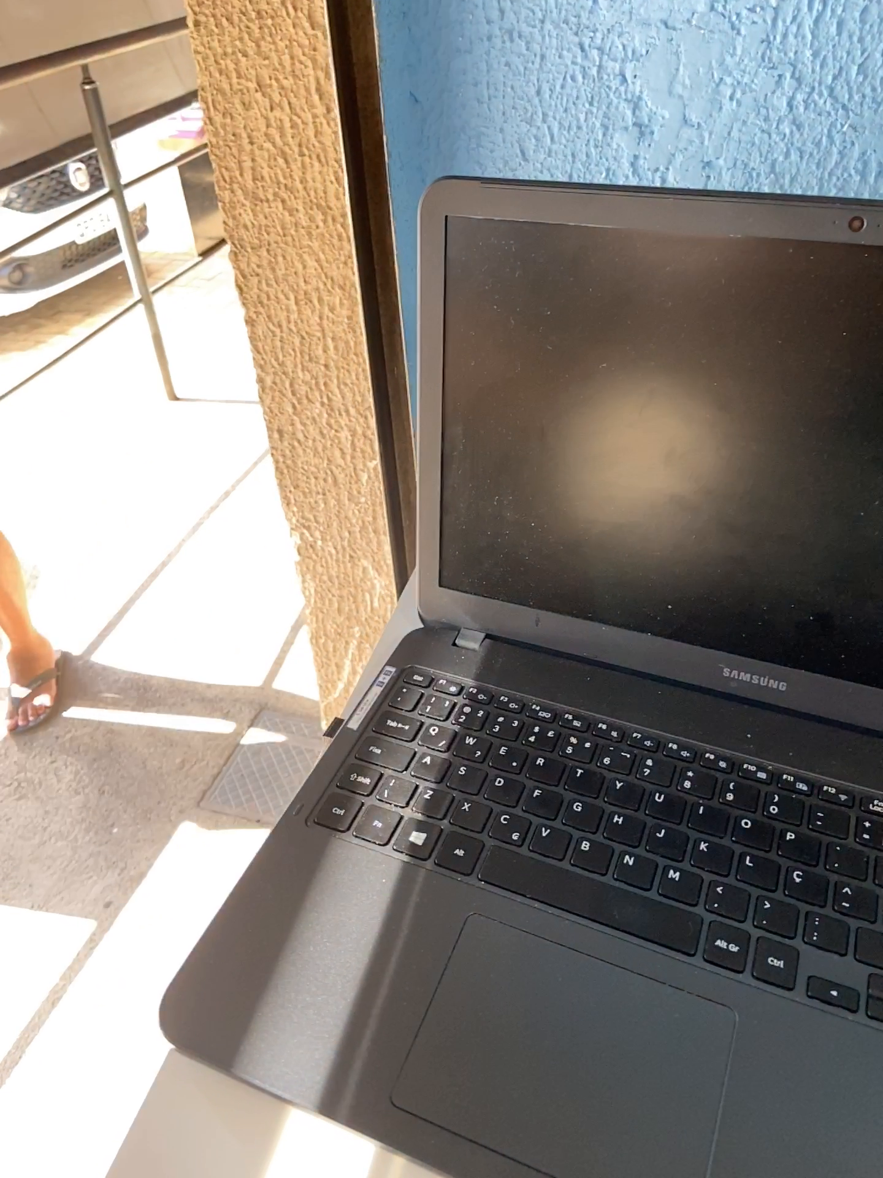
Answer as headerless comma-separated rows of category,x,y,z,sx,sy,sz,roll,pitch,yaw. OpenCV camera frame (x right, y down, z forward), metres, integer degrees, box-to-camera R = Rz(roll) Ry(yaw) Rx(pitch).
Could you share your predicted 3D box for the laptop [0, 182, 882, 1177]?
laptop,0.110,0.028,0.318,0.371,0.232,0.288,13,41,20
